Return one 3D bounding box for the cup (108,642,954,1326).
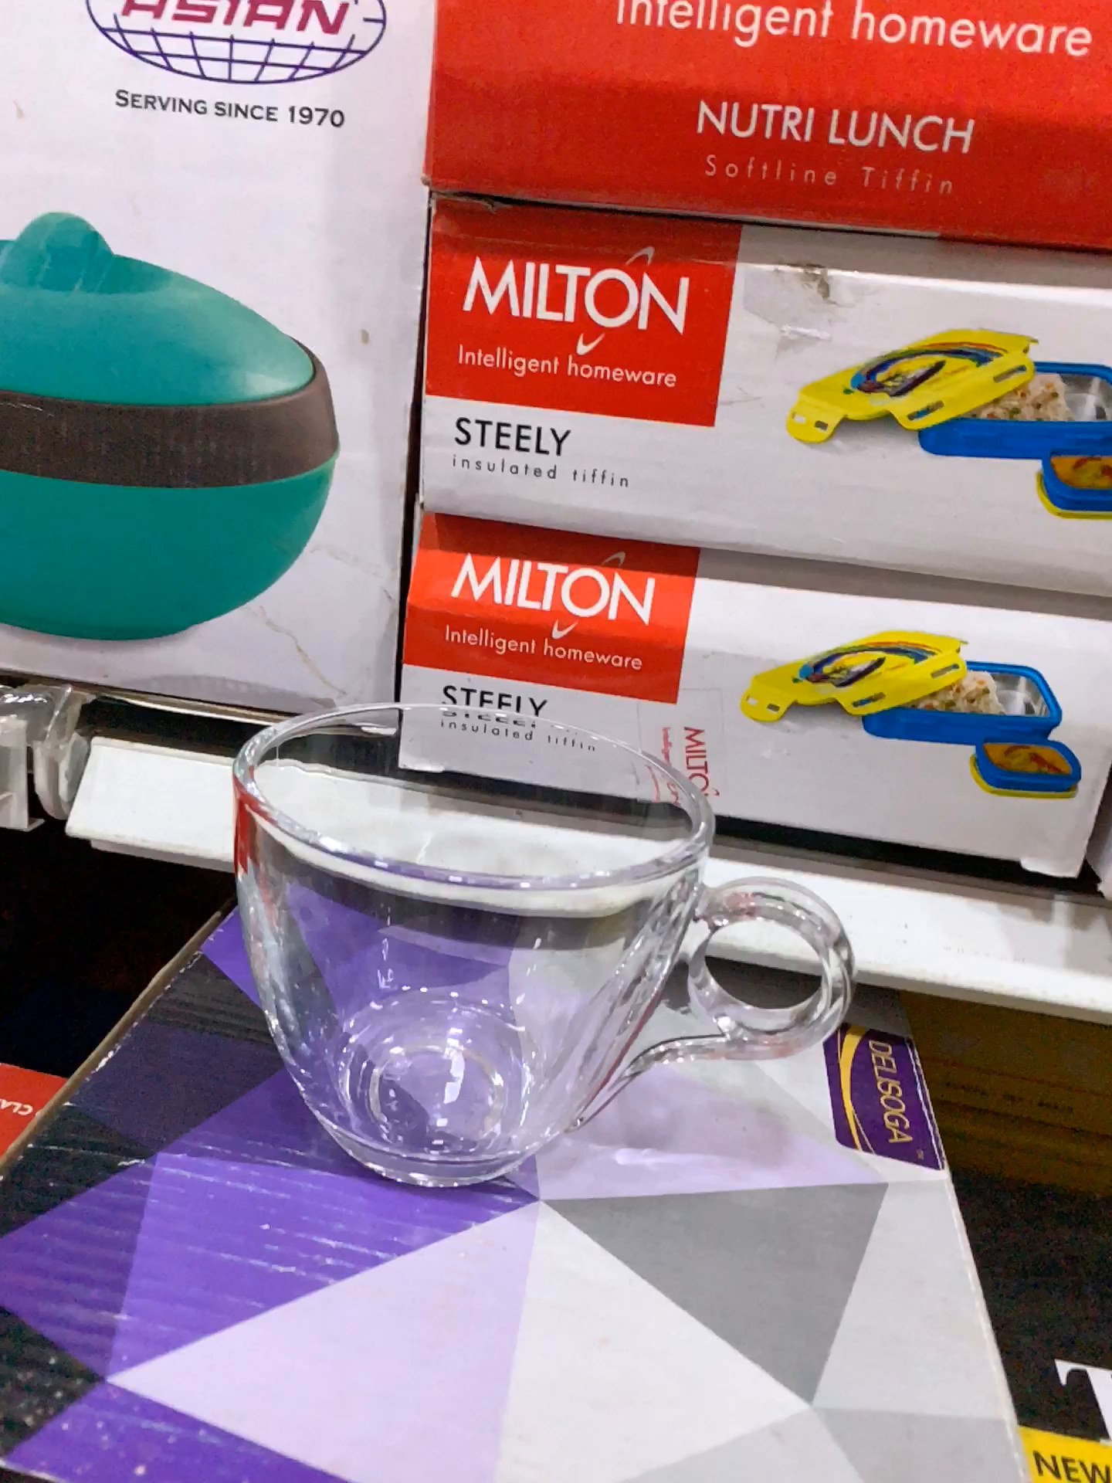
[{"bbox_3d":[-0.001,0.031,0.195,0.110,0.060,0.081,9,22,8],"label":"cup"}]
